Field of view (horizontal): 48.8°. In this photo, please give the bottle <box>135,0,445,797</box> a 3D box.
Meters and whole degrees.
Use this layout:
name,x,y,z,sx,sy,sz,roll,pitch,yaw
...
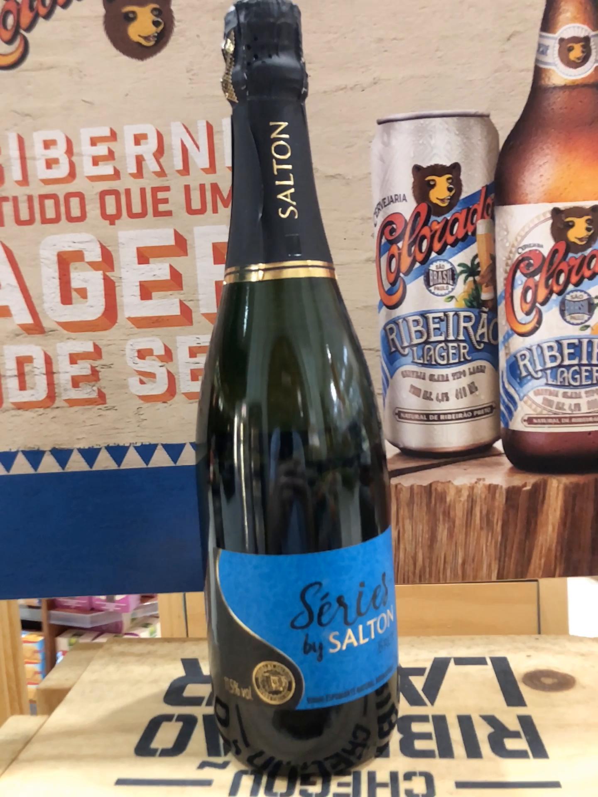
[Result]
name,x,y,z,sx,sy,sz,roll,pitch,yaw
bottle,-0.006,-0.014,0.280,0.090,0.320,0.080,-5,4,-24
